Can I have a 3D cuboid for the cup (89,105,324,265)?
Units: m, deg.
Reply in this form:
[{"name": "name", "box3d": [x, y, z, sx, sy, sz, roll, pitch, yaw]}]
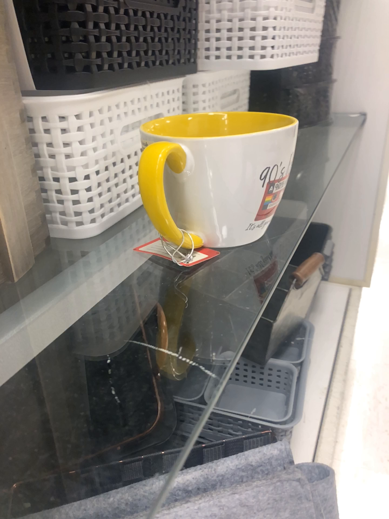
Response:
[{"name": "cup", "box3d": [0.020, -0.072, 0.342, 0.126, 0.076, 0.157, 11, 27, 22]}]
